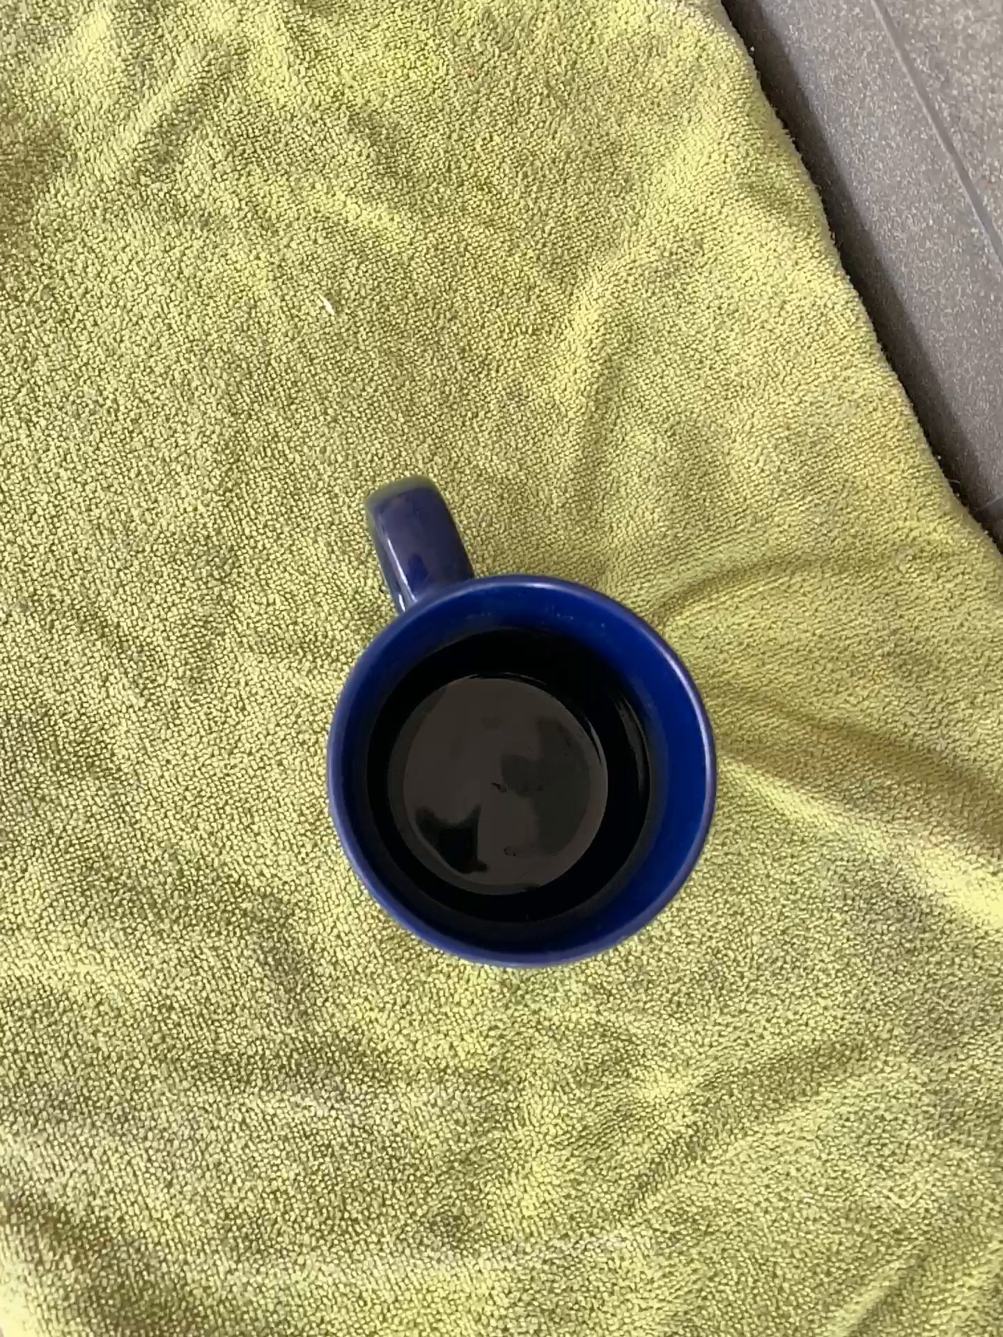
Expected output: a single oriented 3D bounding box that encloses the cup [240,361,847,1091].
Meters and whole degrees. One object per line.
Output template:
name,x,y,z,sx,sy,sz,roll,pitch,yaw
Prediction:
cup,0.004,0.016,0.265,0.090,0.110,0.130,-17,83,-6
